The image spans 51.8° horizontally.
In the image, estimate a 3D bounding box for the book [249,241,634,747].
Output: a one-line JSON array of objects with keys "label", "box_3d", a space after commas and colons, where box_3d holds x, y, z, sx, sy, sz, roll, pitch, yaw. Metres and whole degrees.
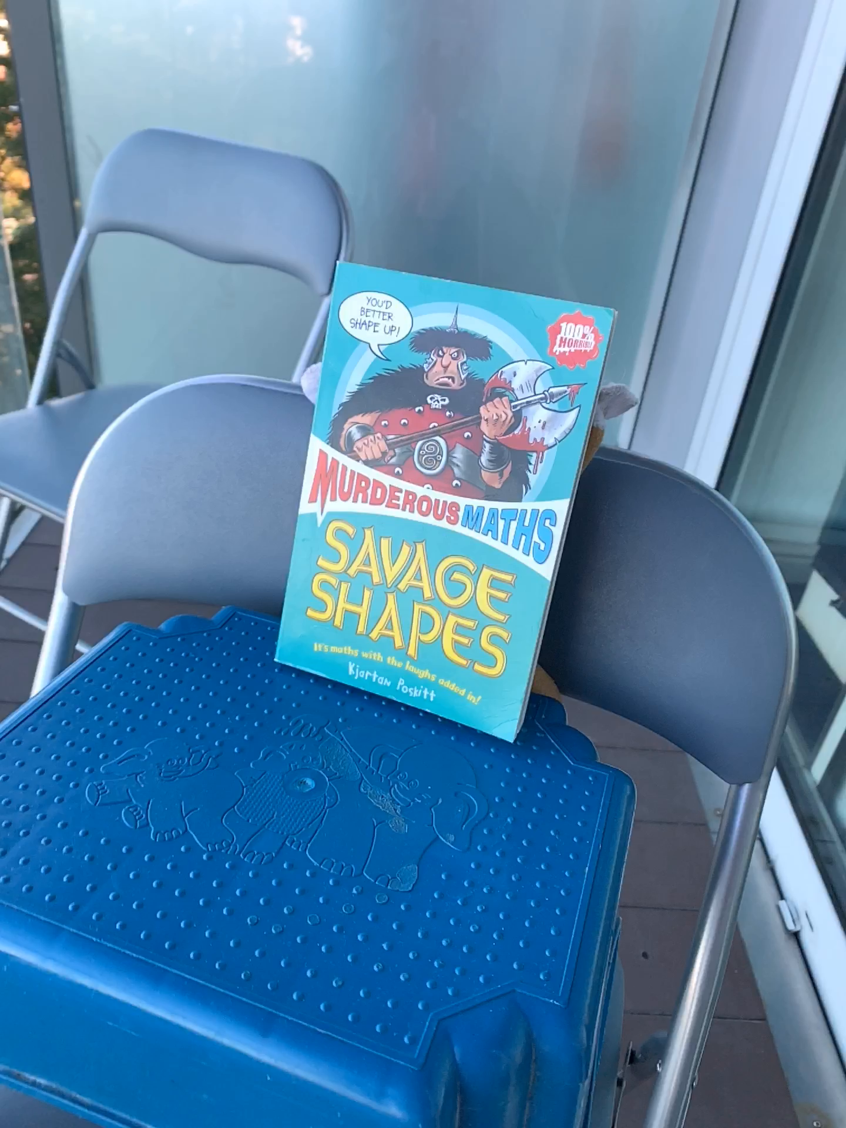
[{"label": "book", "box_3d": [0.003, -0.032, 0.393, 0.133, 0.193, 0.029, 16, 14, 15]}]
